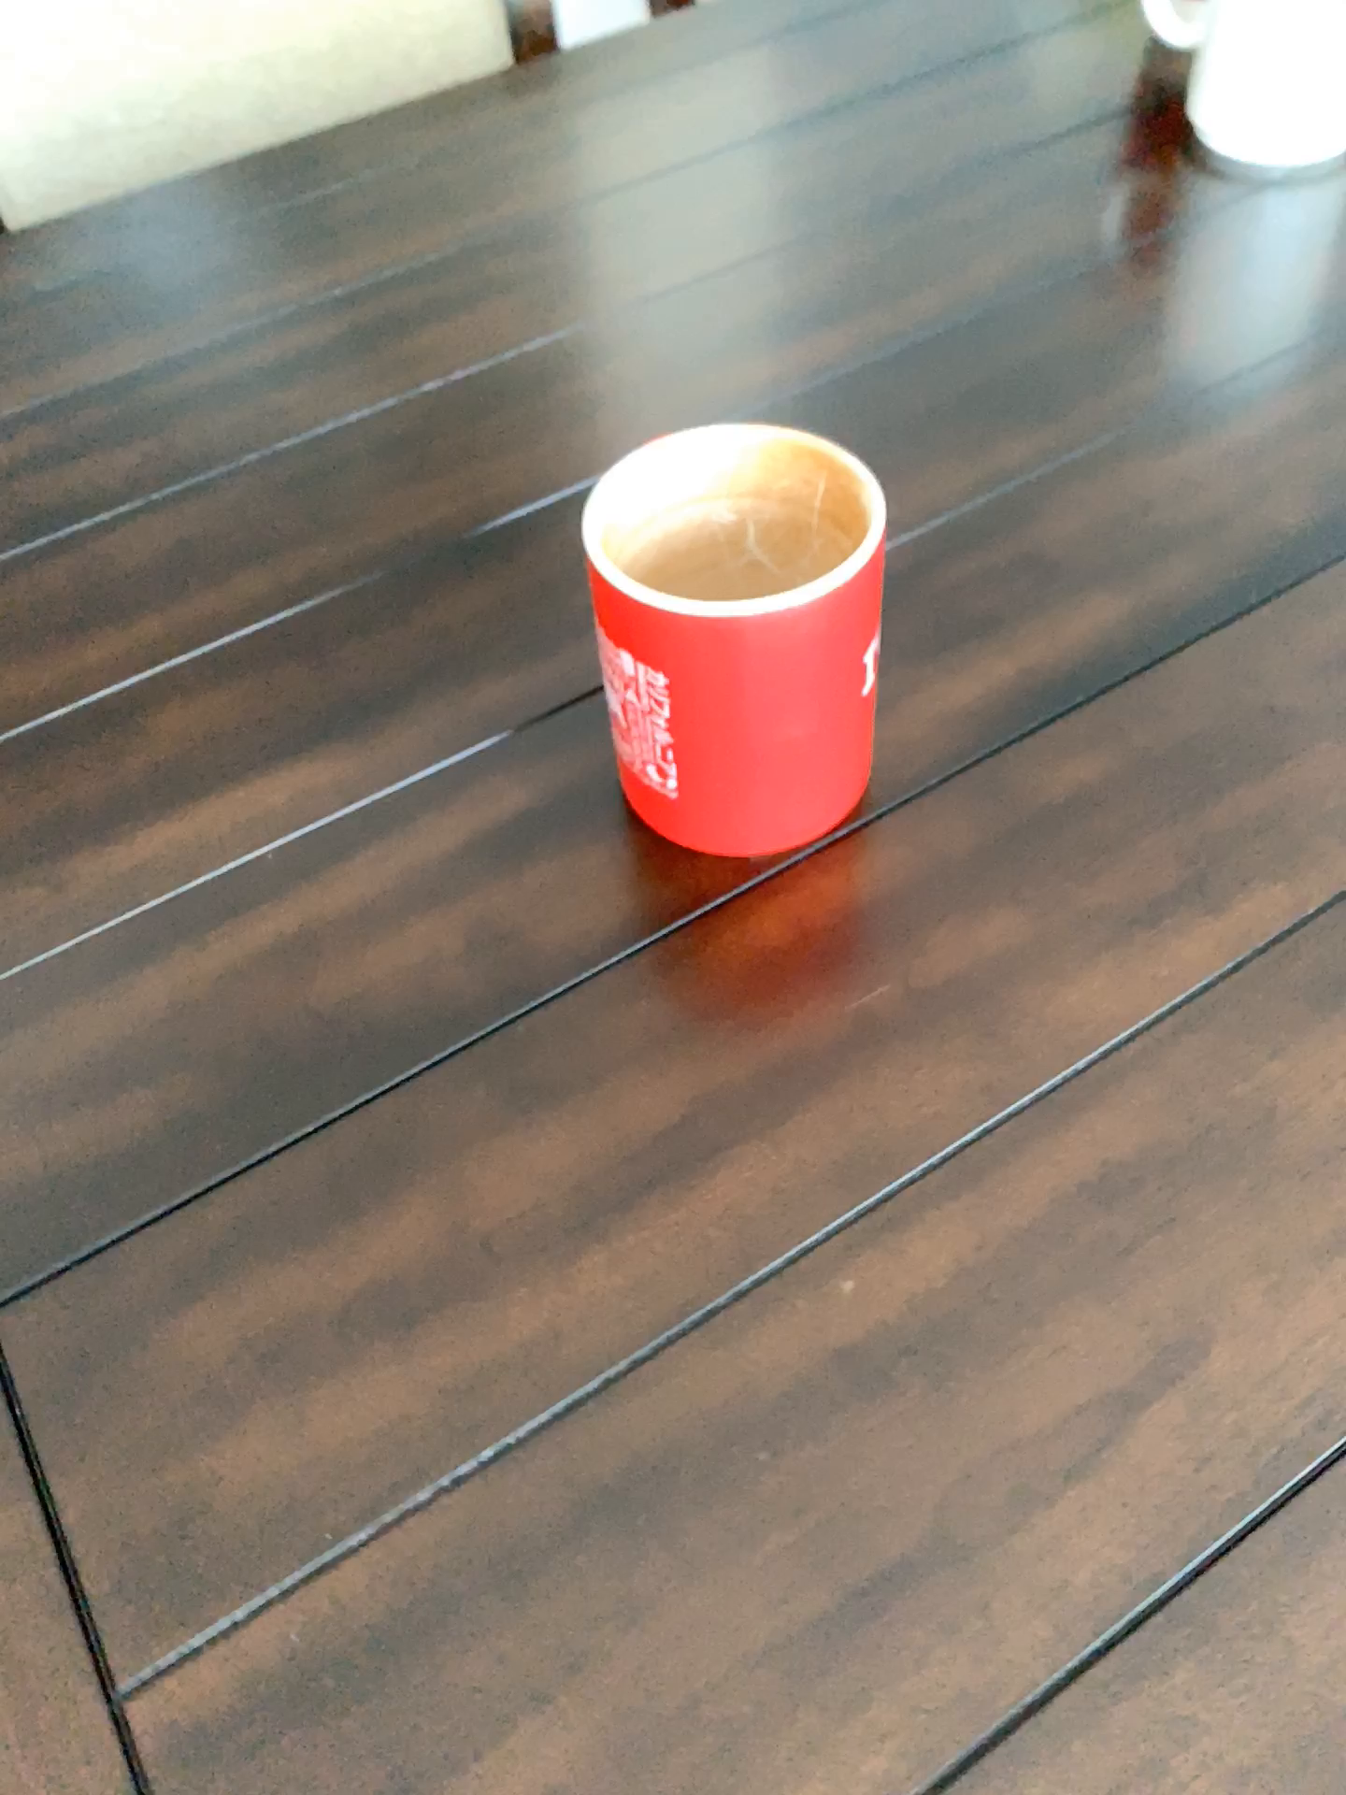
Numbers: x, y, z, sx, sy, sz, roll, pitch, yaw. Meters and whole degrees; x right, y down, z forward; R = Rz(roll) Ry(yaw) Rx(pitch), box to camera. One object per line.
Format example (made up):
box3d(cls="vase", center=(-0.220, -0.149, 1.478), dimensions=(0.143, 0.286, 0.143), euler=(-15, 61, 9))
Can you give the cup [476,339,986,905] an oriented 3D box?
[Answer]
box3d(cls="cup", center=(0.013, -0.088, 0.427), dimensions=(0.100, 0.080, 0.141), euler=(-18, 51, -9))
